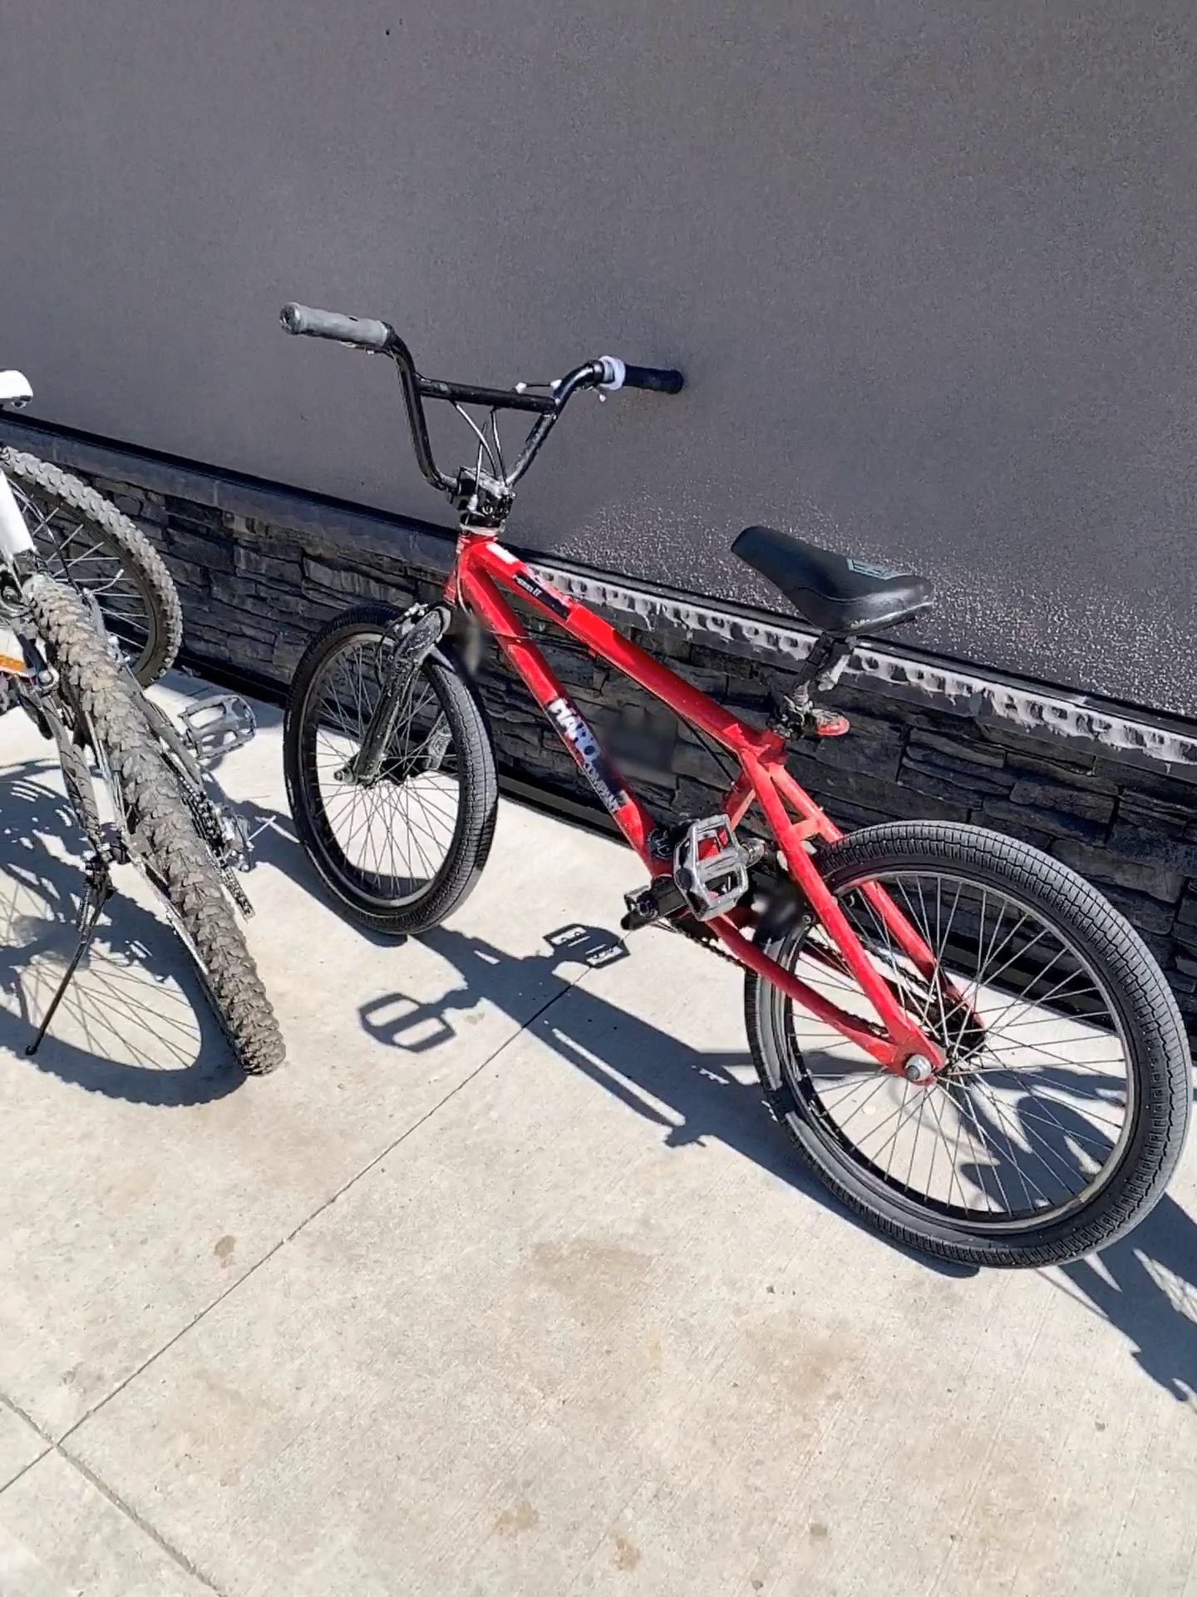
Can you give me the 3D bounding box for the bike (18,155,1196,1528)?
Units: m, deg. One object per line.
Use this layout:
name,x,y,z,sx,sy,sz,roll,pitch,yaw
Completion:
bike,0.093,-0.156,1.482,1.314,0.908,0.776,27,37,31
